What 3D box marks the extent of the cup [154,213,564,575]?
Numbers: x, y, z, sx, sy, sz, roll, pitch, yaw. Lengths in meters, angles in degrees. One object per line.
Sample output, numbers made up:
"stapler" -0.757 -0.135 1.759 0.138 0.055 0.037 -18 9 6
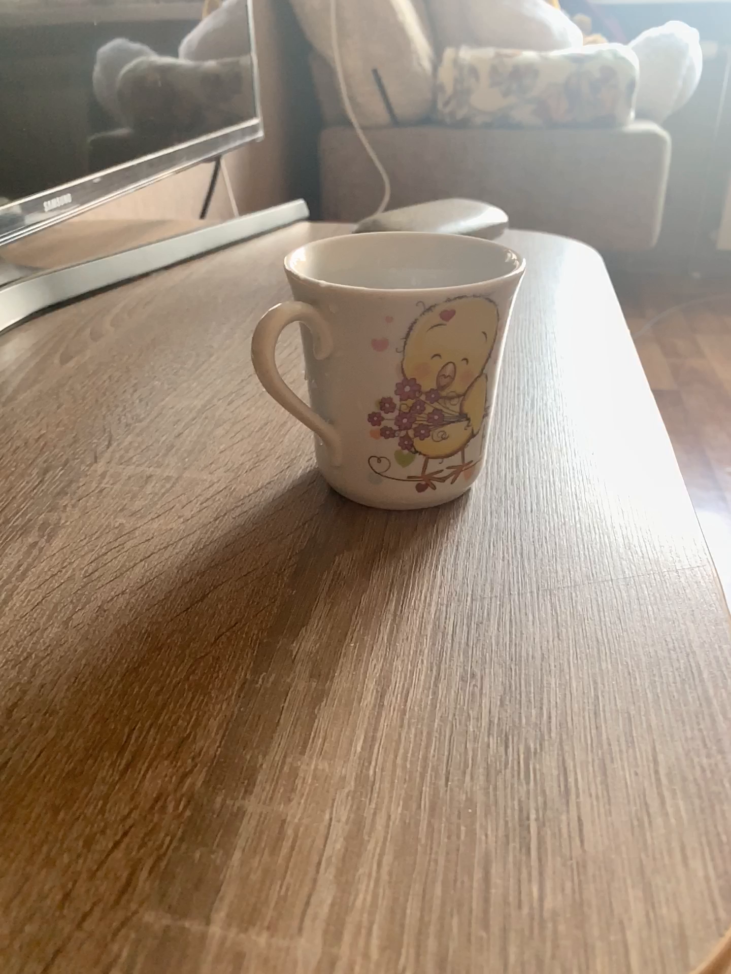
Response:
"cup" 0.001 -0.040 0.257 0.110 0.080 0.070 -24 36 -35
